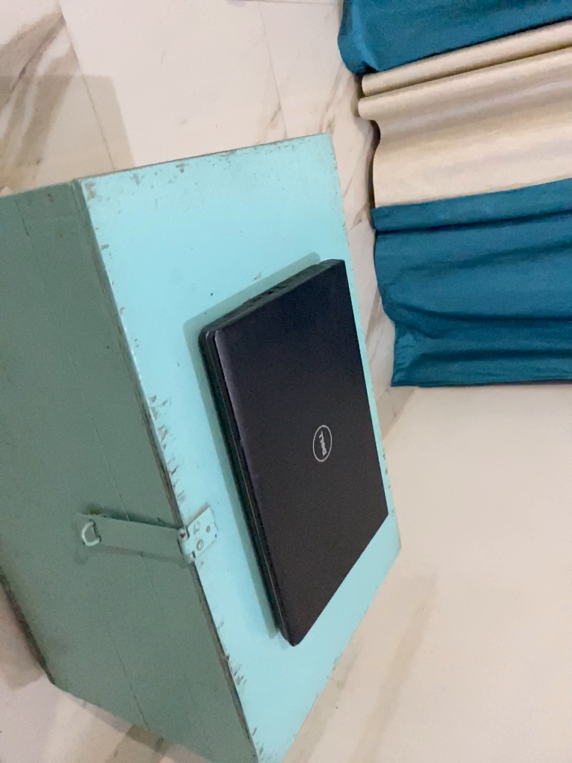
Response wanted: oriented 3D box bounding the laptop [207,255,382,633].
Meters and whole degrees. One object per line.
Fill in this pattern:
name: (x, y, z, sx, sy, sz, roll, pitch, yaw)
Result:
laptop: (0.035, 0.067, 0.729, 0.270, 0.004, 0.385, -37, 121, -48)
